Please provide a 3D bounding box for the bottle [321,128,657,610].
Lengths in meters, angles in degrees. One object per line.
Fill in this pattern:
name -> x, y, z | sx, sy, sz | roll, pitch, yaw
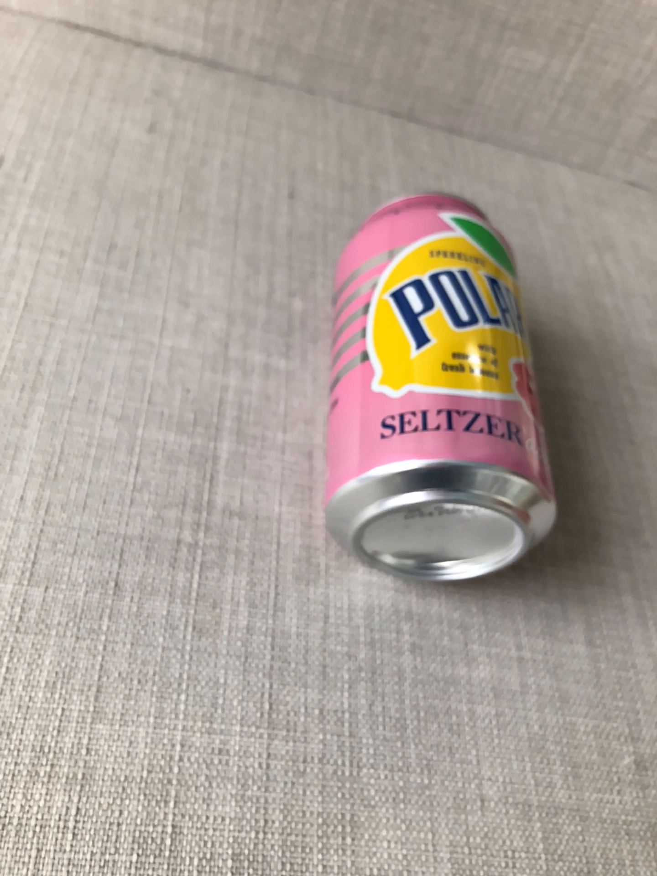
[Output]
bottle -> 0.042, -0.021, 0.230 | 0.070, 0.065, 0.123 | 11, 55, -15
